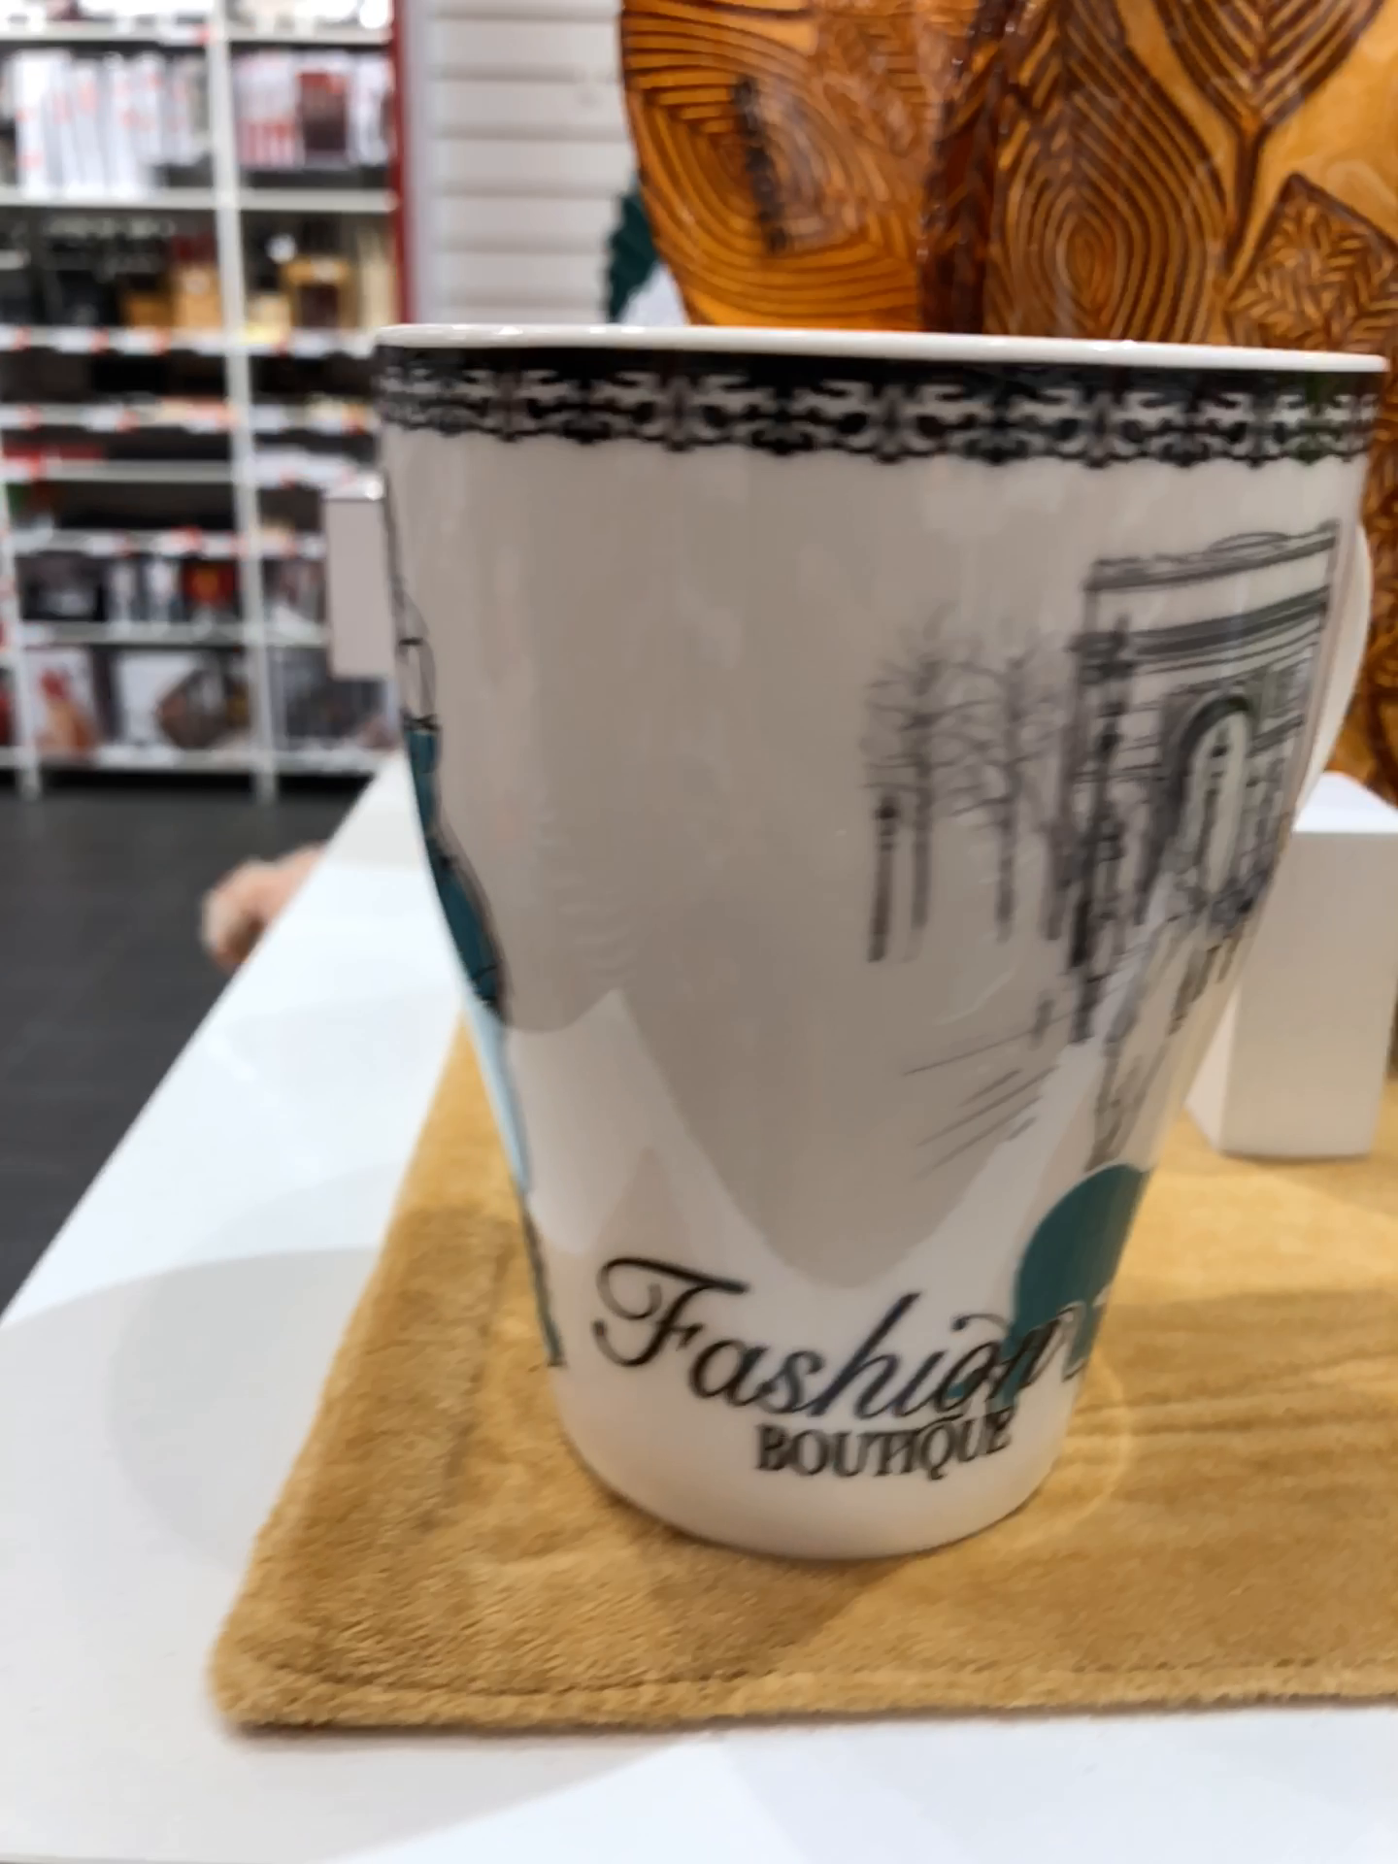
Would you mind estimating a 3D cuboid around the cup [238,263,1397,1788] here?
[{"bbox_3d":[0.026,-0.007,0.158,0.110,0.100,0.080,-12,23,-34],"label":"cup"}]
